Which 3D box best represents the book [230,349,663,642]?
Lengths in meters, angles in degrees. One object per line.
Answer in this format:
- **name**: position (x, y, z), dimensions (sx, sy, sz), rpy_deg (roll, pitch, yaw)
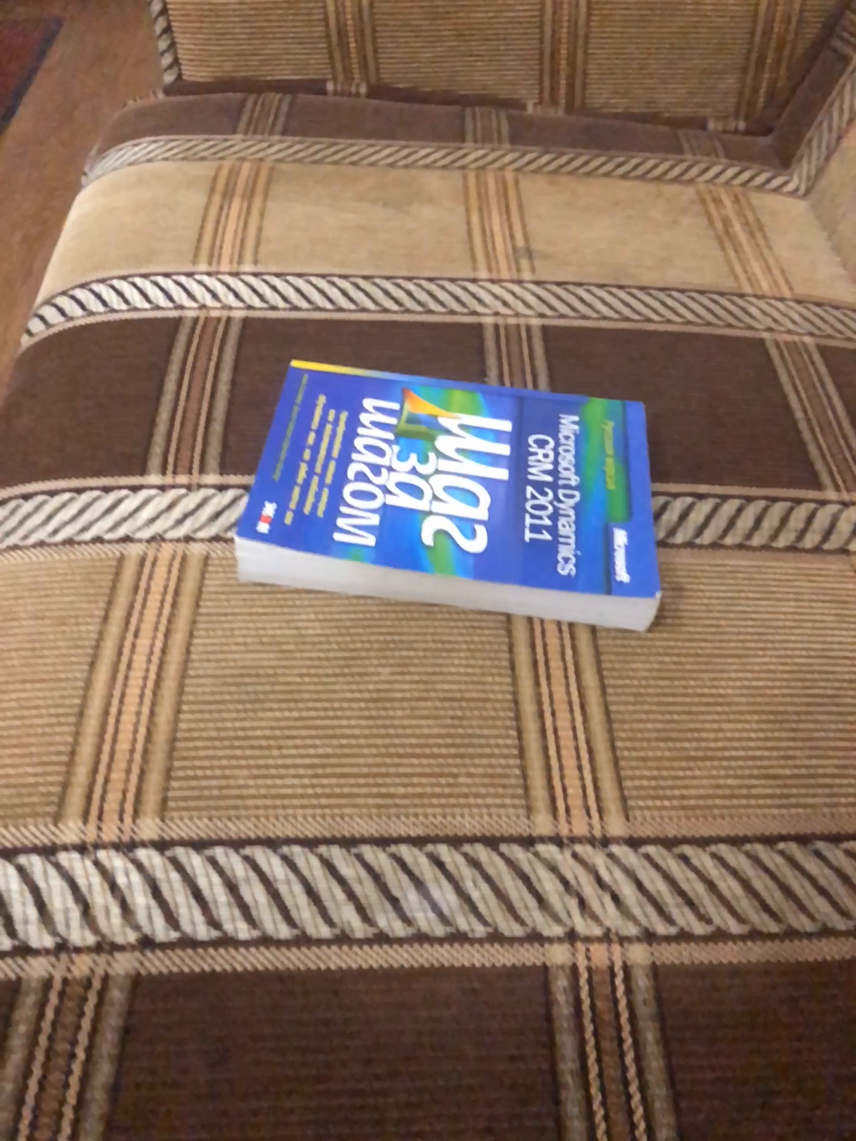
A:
- **book**: position (0.015, -0.045, 0.493), dimensions (0.200, 0.033, 0.151), rpy_deg (7, 49, 1)
